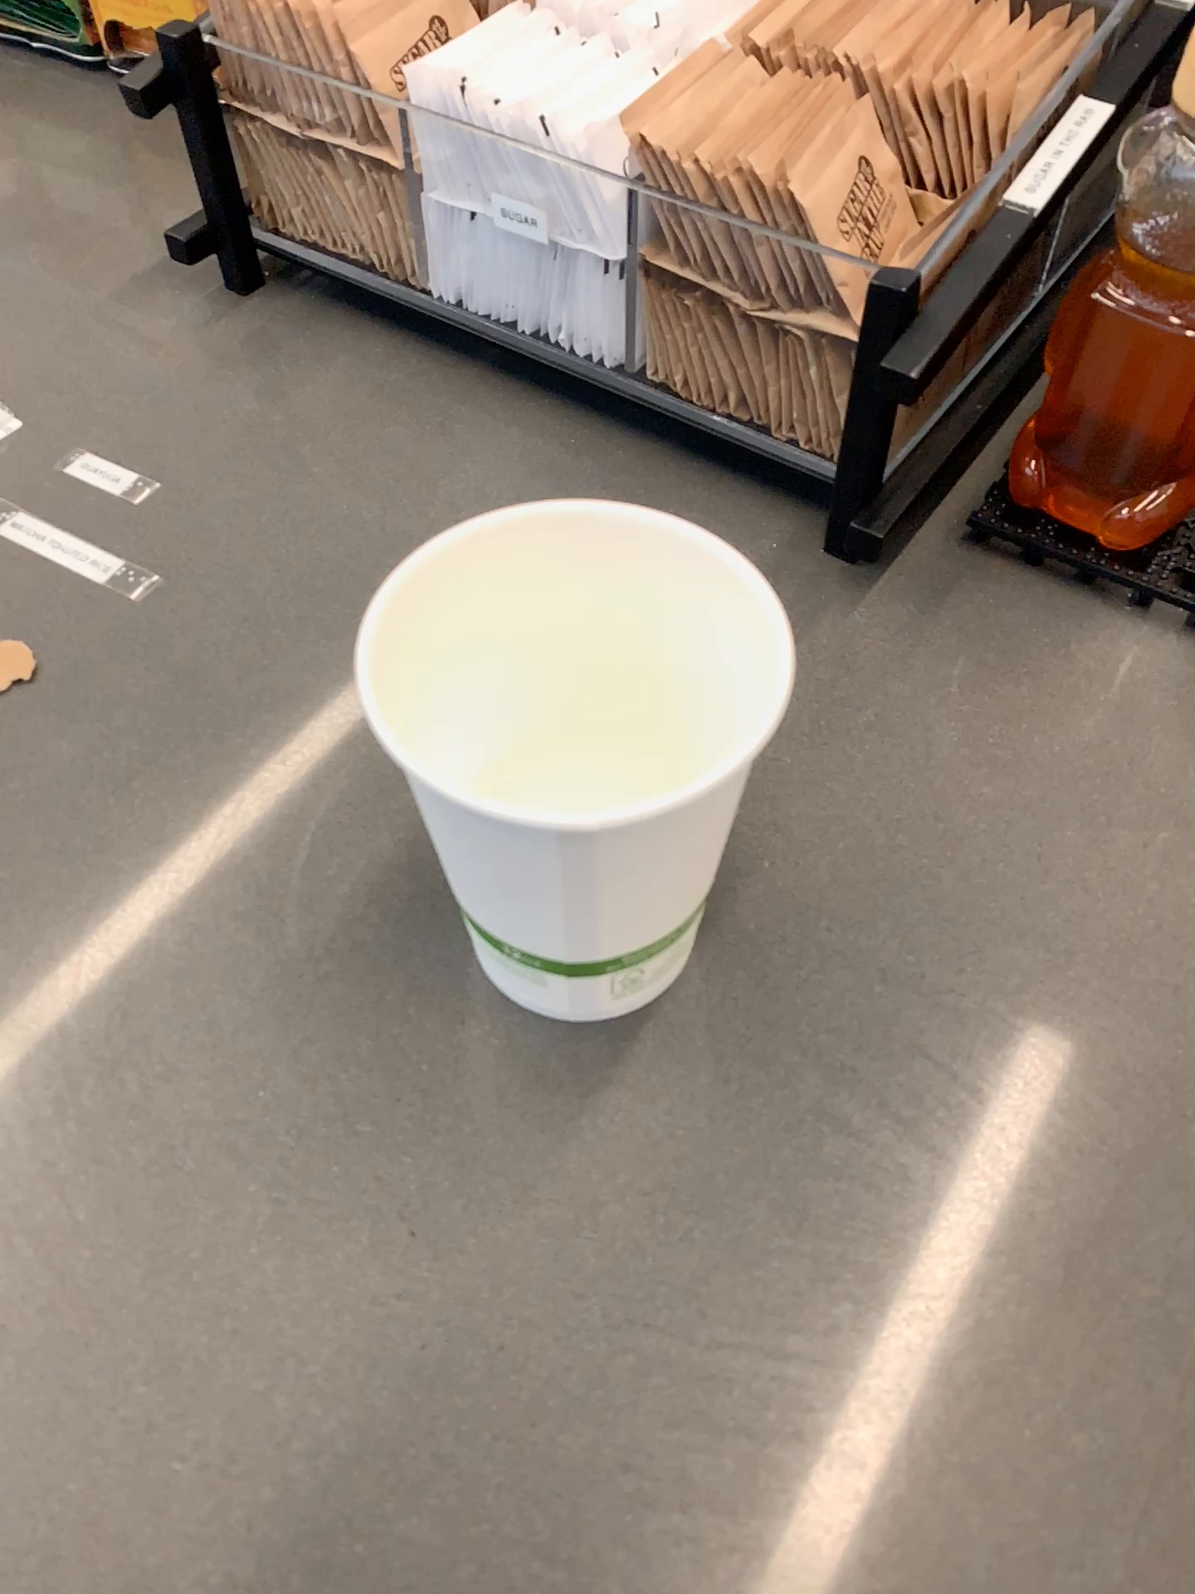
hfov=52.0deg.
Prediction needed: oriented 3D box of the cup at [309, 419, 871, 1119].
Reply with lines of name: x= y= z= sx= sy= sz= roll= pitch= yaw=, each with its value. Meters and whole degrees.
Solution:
cup: x=-0.005 y=-0.001 z=0.270 sx=0.080 sy=0.119 sz=0.080 roll=0 pitch=53 yaw=0
